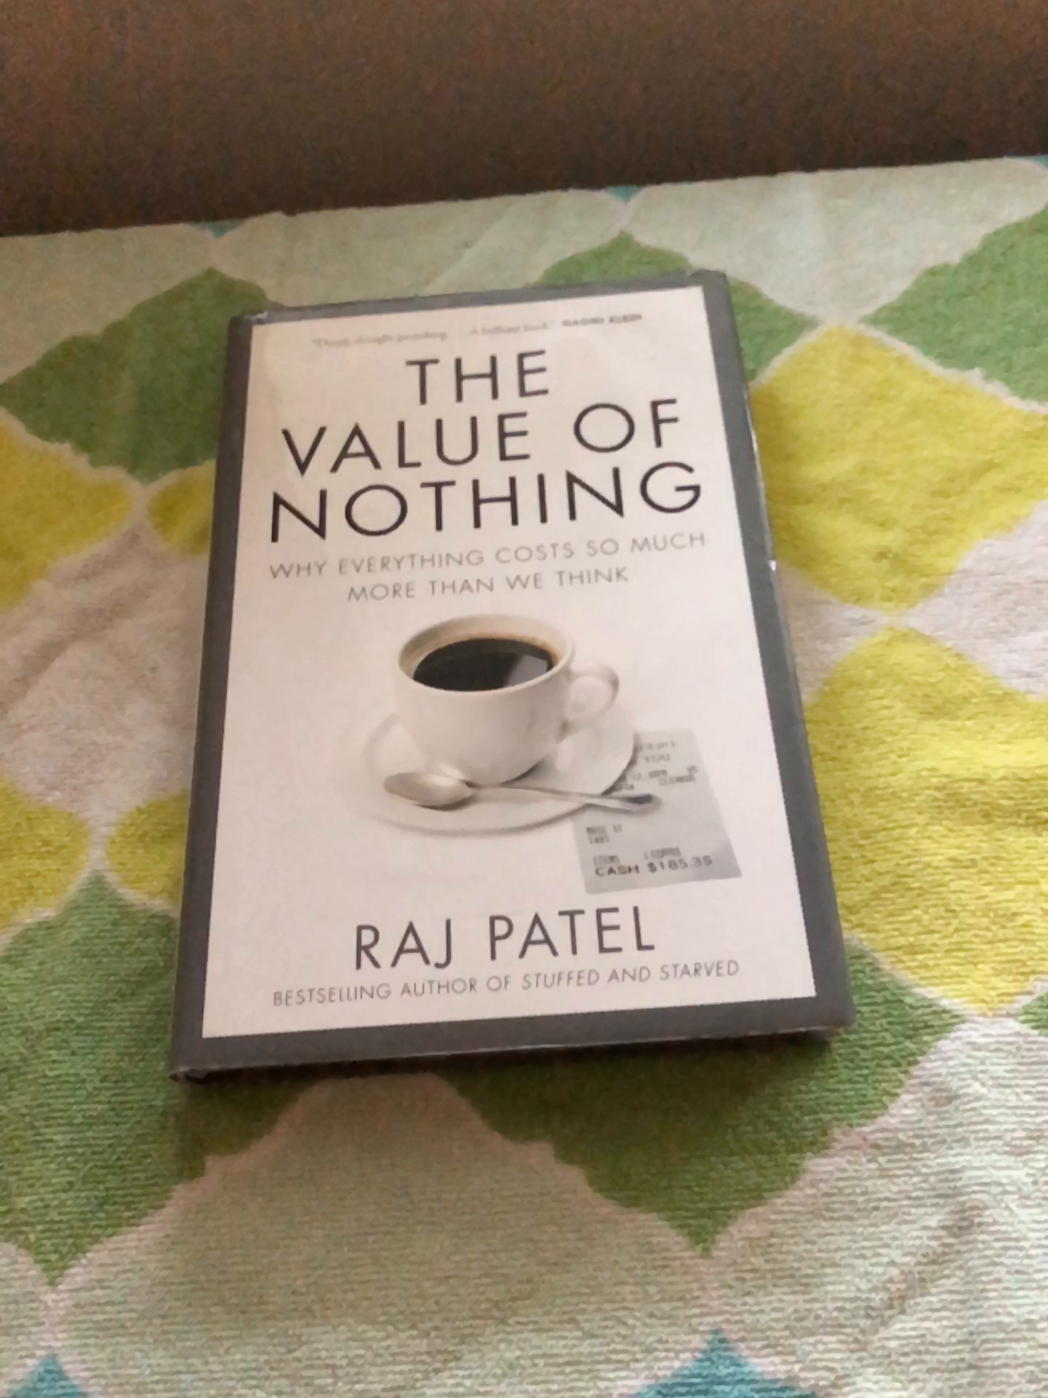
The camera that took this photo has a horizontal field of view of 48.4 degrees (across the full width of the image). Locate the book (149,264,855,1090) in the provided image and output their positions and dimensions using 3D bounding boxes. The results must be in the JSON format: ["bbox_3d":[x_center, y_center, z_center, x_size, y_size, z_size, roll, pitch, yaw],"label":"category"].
[{"bbox_3d":[-0.009,-0.016,0.291,0.140,0.030,0.207,-4,63,2],"label":"book"}]
